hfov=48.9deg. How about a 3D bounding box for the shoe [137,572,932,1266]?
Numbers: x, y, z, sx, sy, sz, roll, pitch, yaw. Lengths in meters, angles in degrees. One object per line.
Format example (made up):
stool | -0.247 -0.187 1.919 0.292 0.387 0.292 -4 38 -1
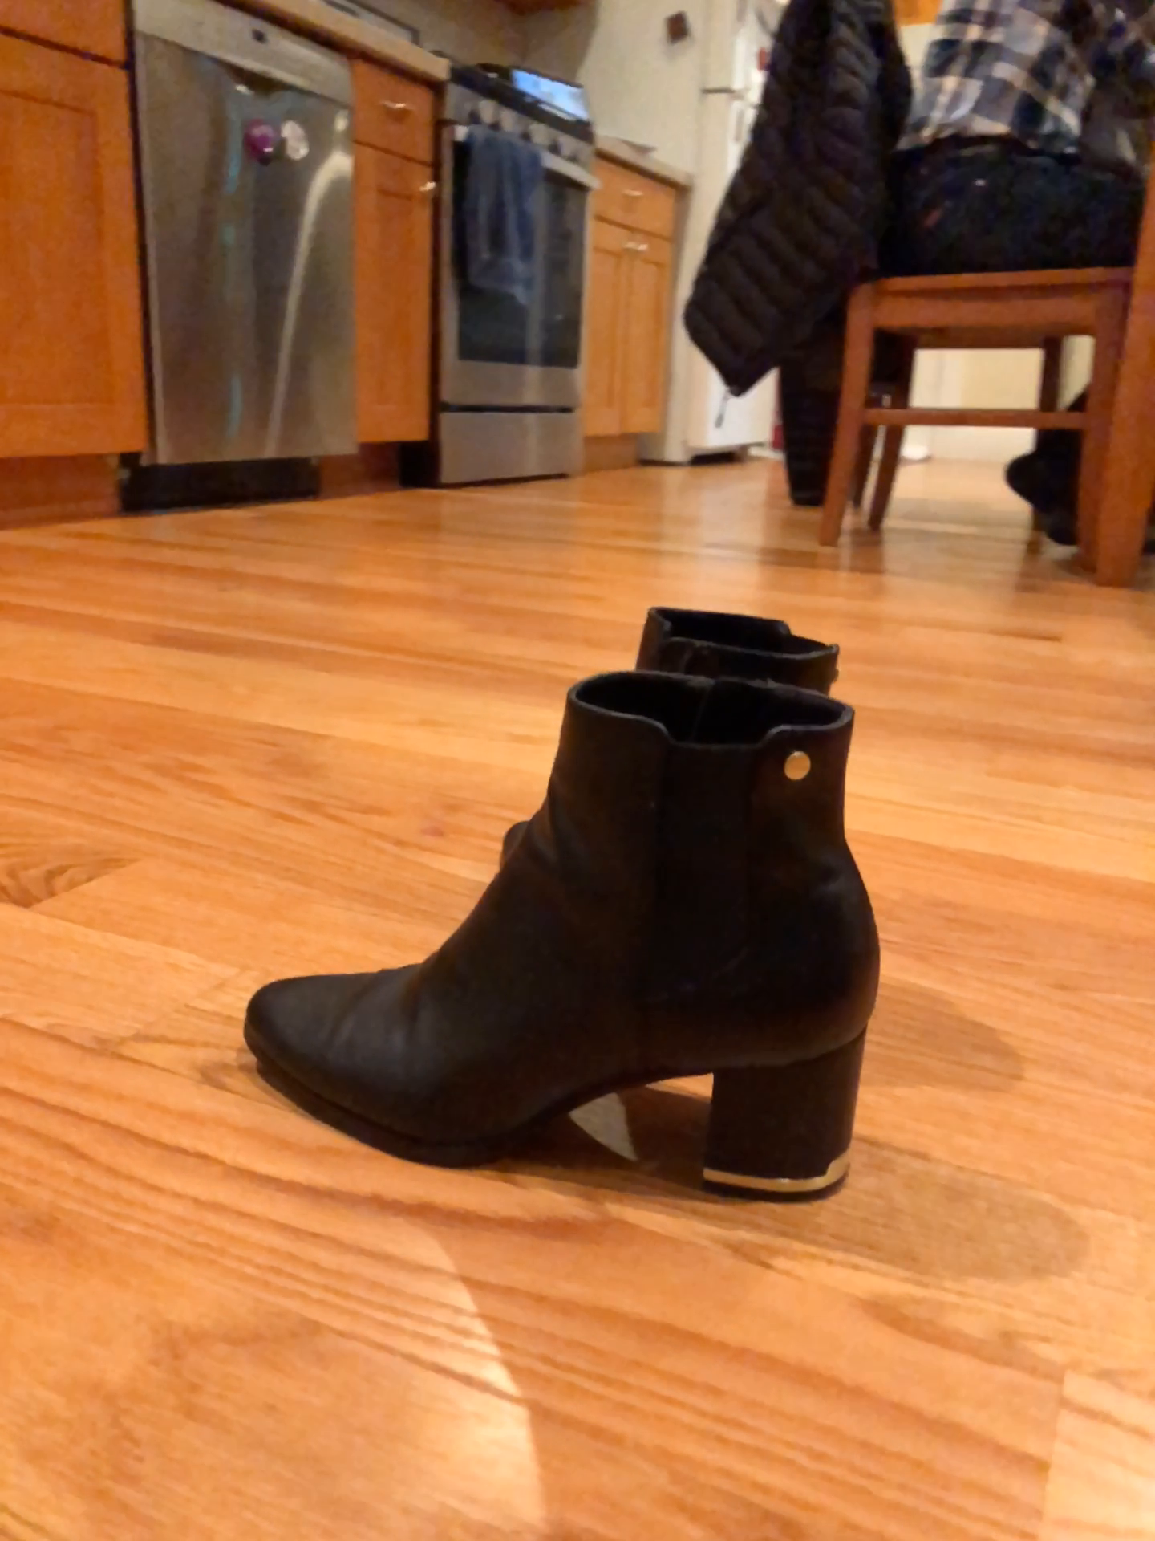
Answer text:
shoe | -0.014 0.035 0.430 0.236 0.175 0.095 7 16 17

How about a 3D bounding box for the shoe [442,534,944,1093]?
shoe | 0.032 -0.002 0.563 0.095 0.175 0.237 -7 18 -29
